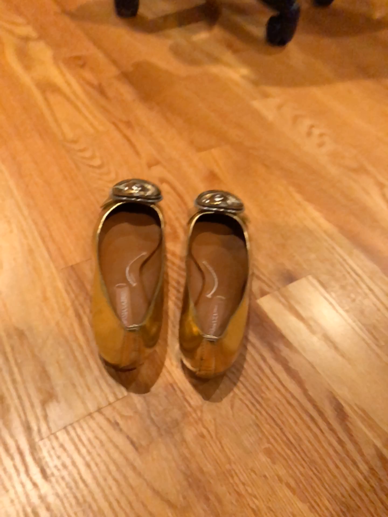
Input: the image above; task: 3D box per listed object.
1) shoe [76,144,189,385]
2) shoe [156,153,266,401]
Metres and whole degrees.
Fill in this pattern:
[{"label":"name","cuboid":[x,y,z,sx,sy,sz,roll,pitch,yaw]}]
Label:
[{"label":"shoe","cuboid":[-0.064,-0.009,0.419,0.083,0.066,0.245,0,49,-11]},{"label":"shoe","cuboid":[0.019,0.002,0.424,0.077,0.066,0.251,8,48,-3]}]
